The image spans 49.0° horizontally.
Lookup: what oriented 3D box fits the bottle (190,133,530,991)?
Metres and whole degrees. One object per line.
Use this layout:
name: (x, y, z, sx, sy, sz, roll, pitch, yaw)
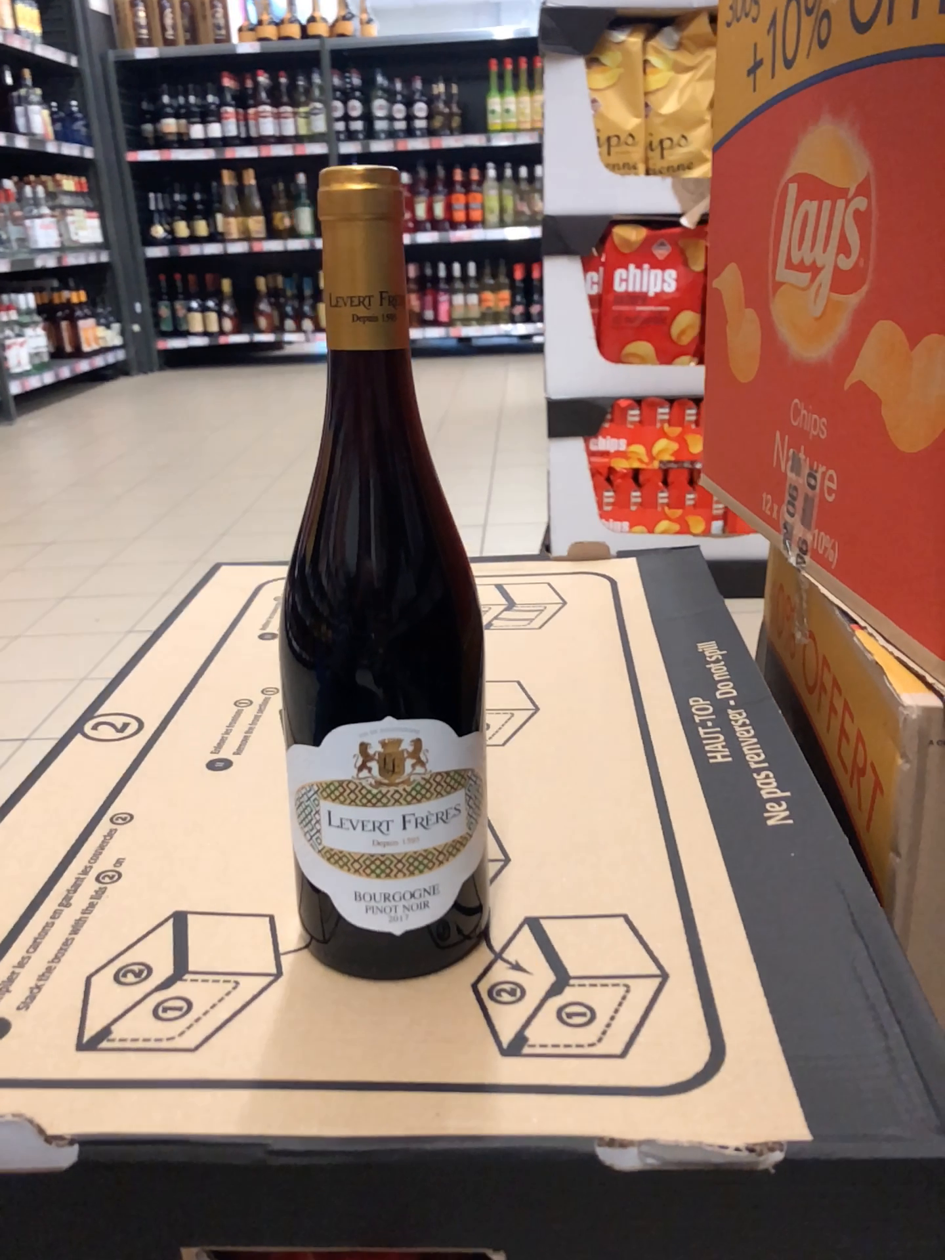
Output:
bottle: (-0.030, -0.016, 0.389, 0.090, 0.299, 0.080, -3, 20, 1)
